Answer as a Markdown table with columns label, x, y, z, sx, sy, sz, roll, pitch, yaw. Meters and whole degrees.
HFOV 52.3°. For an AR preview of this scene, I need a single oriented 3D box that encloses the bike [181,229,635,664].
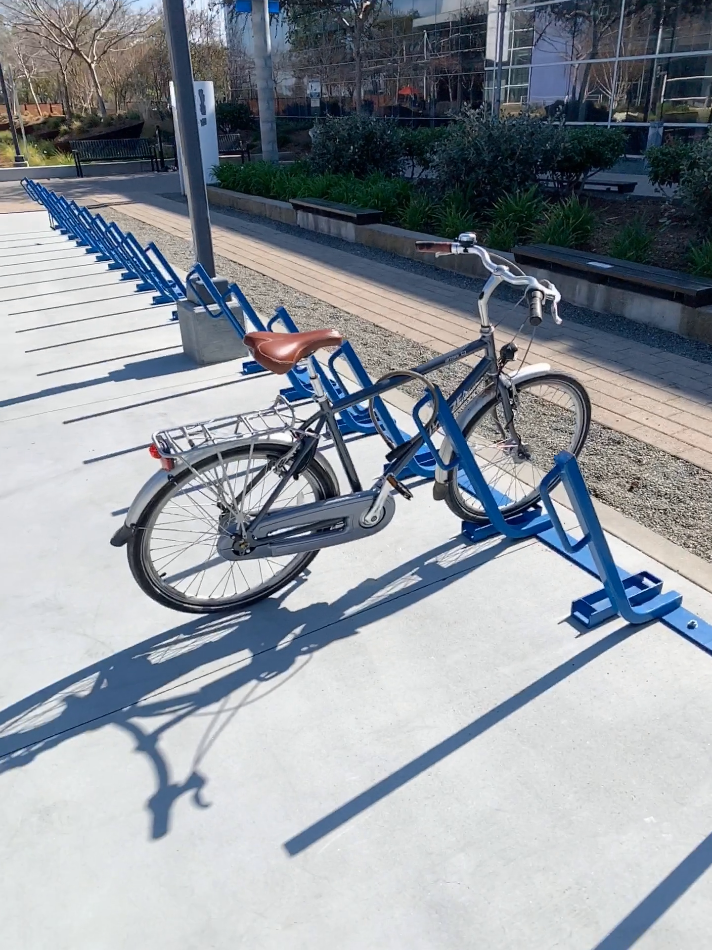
| label | x | y | z | sx | sy | sz | roll | pitch | yaw |
| --- | --- | --- | --- | --- | --- | --- | --- | --- | --- |
| bike | 0.137 | -0.153 | 2.136 | 1.060 | 0.916 | 0.594 | -14 | 30 | -22 |
